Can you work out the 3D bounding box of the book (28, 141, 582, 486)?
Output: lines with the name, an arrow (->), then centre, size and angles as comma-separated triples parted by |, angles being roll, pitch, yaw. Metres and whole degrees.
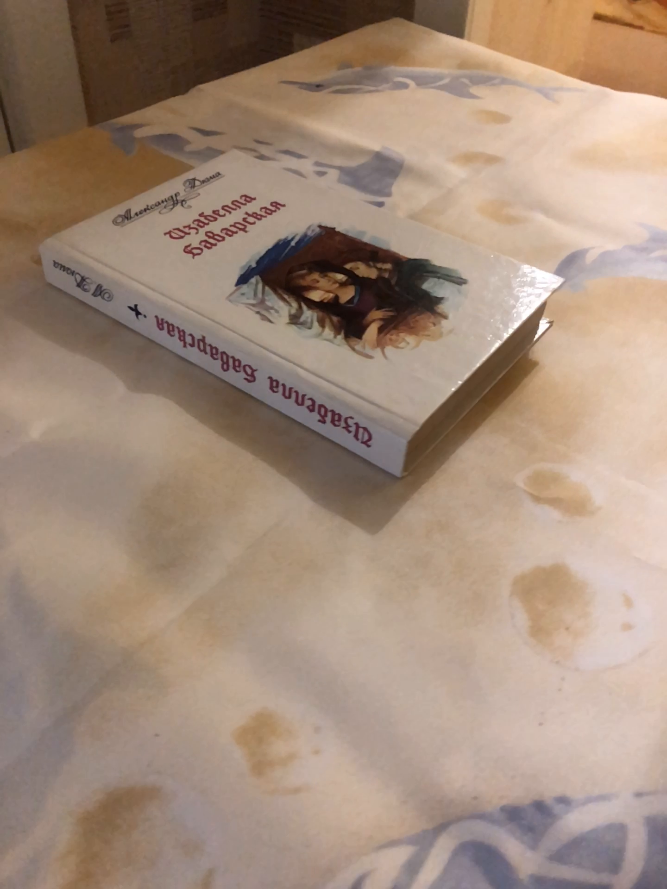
book -> -0.013, -0.078, 0.344 | 0.209, 0.026, 0.140 | 28, 50, 23
